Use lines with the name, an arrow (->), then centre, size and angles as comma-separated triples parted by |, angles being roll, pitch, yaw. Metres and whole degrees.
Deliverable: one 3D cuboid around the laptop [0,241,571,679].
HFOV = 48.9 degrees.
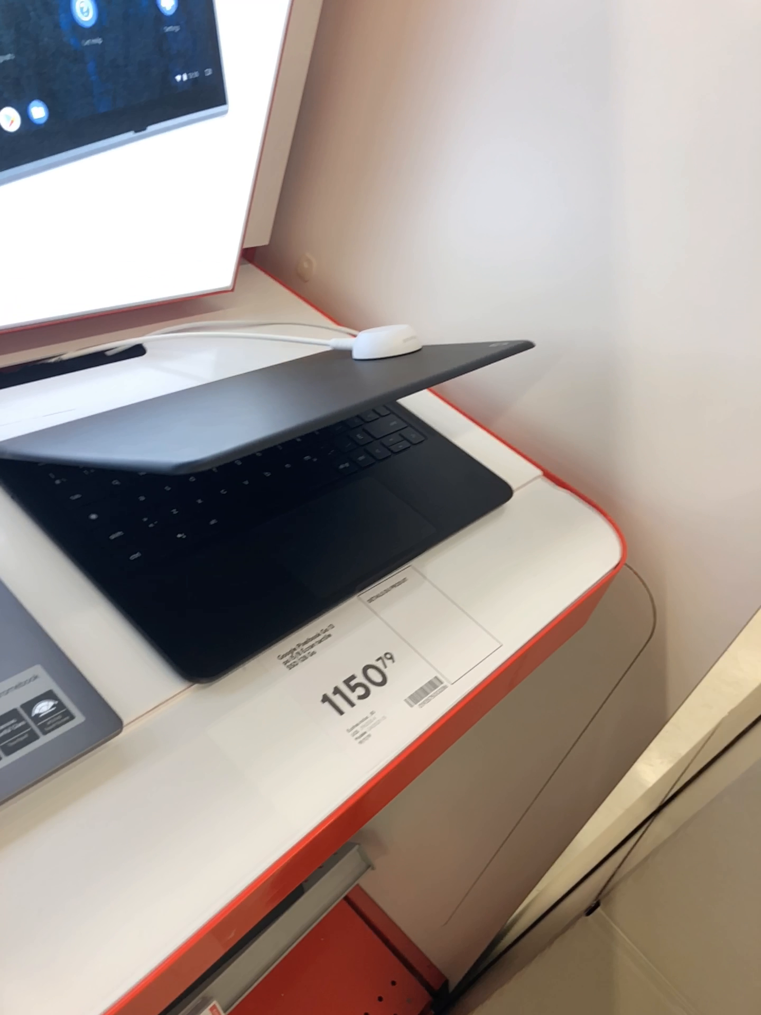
laptop -> -0.052, -0.060, 0.531 | 0.199, 0.106, 0.299 | 38, 40, 23
